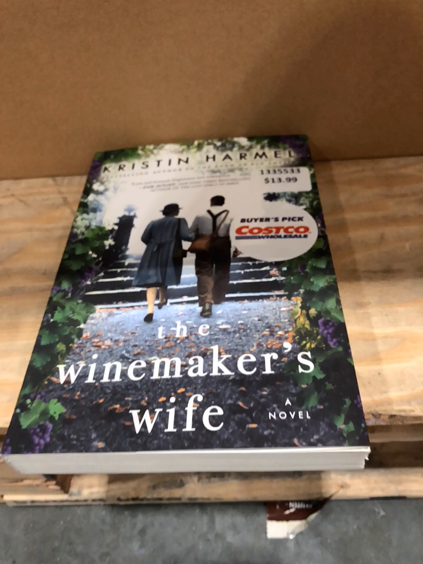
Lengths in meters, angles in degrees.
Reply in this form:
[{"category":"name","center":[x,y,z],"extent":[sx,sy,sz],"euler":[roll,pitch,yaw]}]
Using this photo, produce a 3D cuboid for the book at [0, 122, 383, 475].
[{"category":"book","center":[-0.009,-0.013,0.273],"extent":[0.154,0.035,0.230],"euler":[-4,45,6]}]
